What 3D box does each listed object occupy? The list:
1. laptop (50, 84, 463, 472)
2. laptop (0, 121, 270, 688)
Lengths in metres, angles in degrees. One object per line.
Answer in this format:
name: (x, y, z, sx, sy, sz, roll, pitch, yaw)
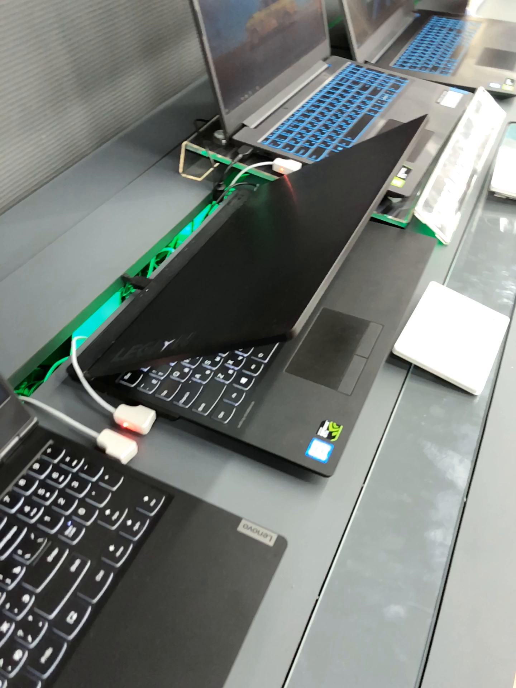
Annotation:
laptop: (0.028, -0.097, 0.538, 0.227, 0.136, 0.354, 19, 48, 18)
laptop: (-0.201, 0.127, 0.251, 0.307, 0.231, 0.365, 21, 49, 18)
